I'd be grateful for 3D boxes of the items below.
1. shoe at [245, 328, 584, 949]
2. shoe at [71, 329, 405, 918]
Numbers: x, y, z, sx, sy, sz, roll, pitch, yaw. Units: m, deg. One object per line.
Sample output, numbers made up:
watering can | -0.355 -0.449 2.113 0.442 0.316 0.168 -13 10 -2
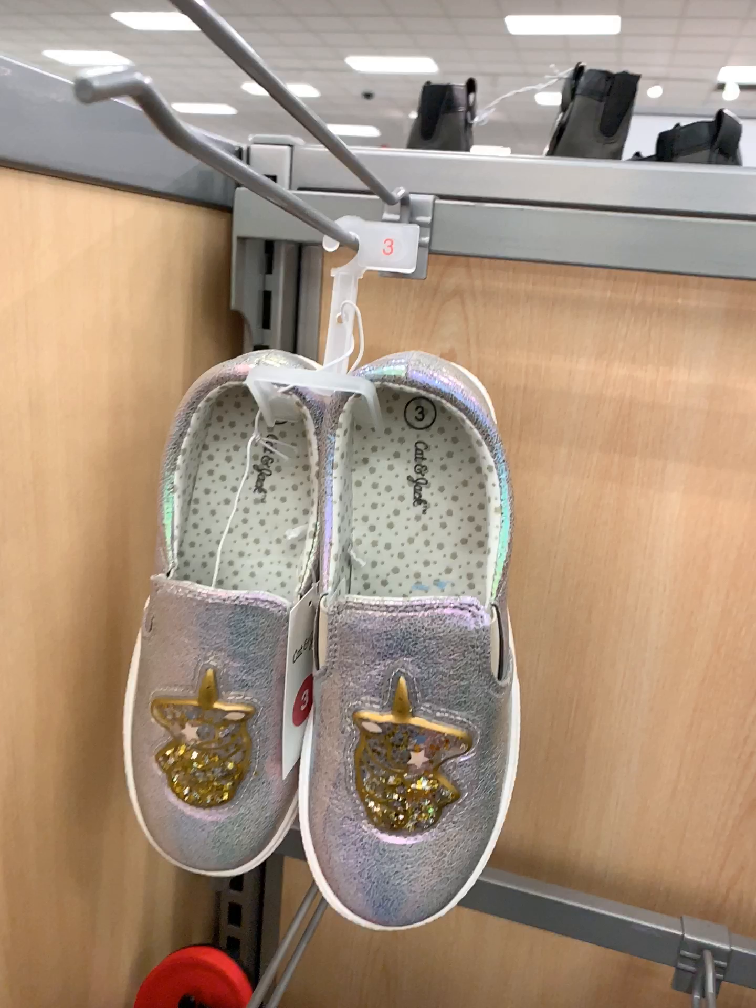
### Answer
shoe | 0.018 0.043 0.337 0.100 0.221 0.113 8 12 10
shoe | -0.058 0.040 0.352 0.100 0.221 0.113 8 12 10
